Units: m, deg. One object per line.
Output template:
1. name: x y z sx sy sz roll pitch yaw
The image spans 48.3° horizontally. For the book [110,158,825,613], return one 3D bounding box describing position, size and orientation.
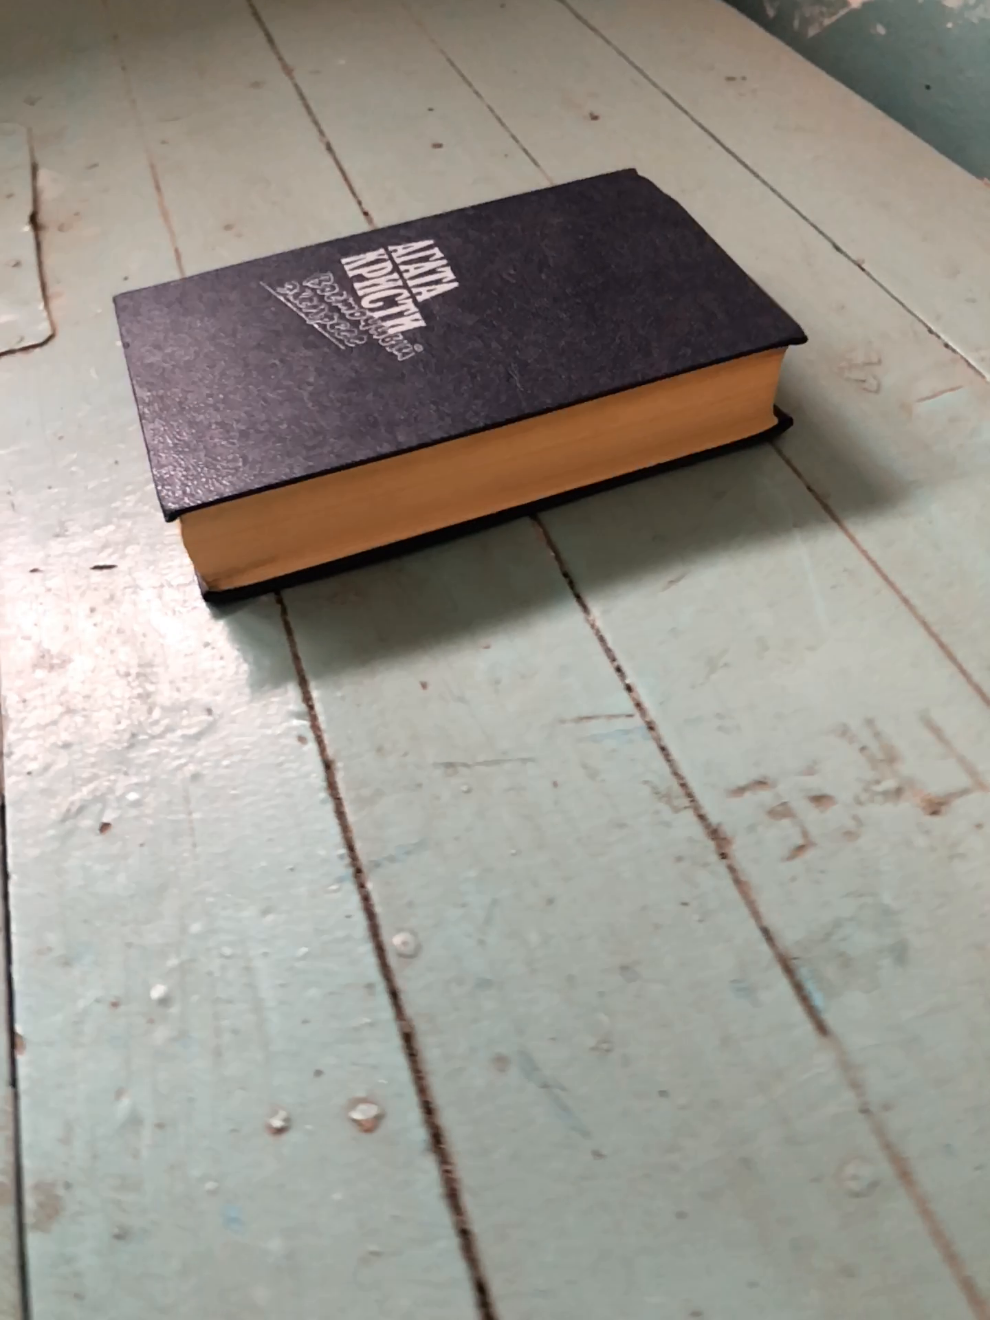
1. book: -0.016 -0.106 0.388 0.210 0.040 0.138 -17 49 -10
